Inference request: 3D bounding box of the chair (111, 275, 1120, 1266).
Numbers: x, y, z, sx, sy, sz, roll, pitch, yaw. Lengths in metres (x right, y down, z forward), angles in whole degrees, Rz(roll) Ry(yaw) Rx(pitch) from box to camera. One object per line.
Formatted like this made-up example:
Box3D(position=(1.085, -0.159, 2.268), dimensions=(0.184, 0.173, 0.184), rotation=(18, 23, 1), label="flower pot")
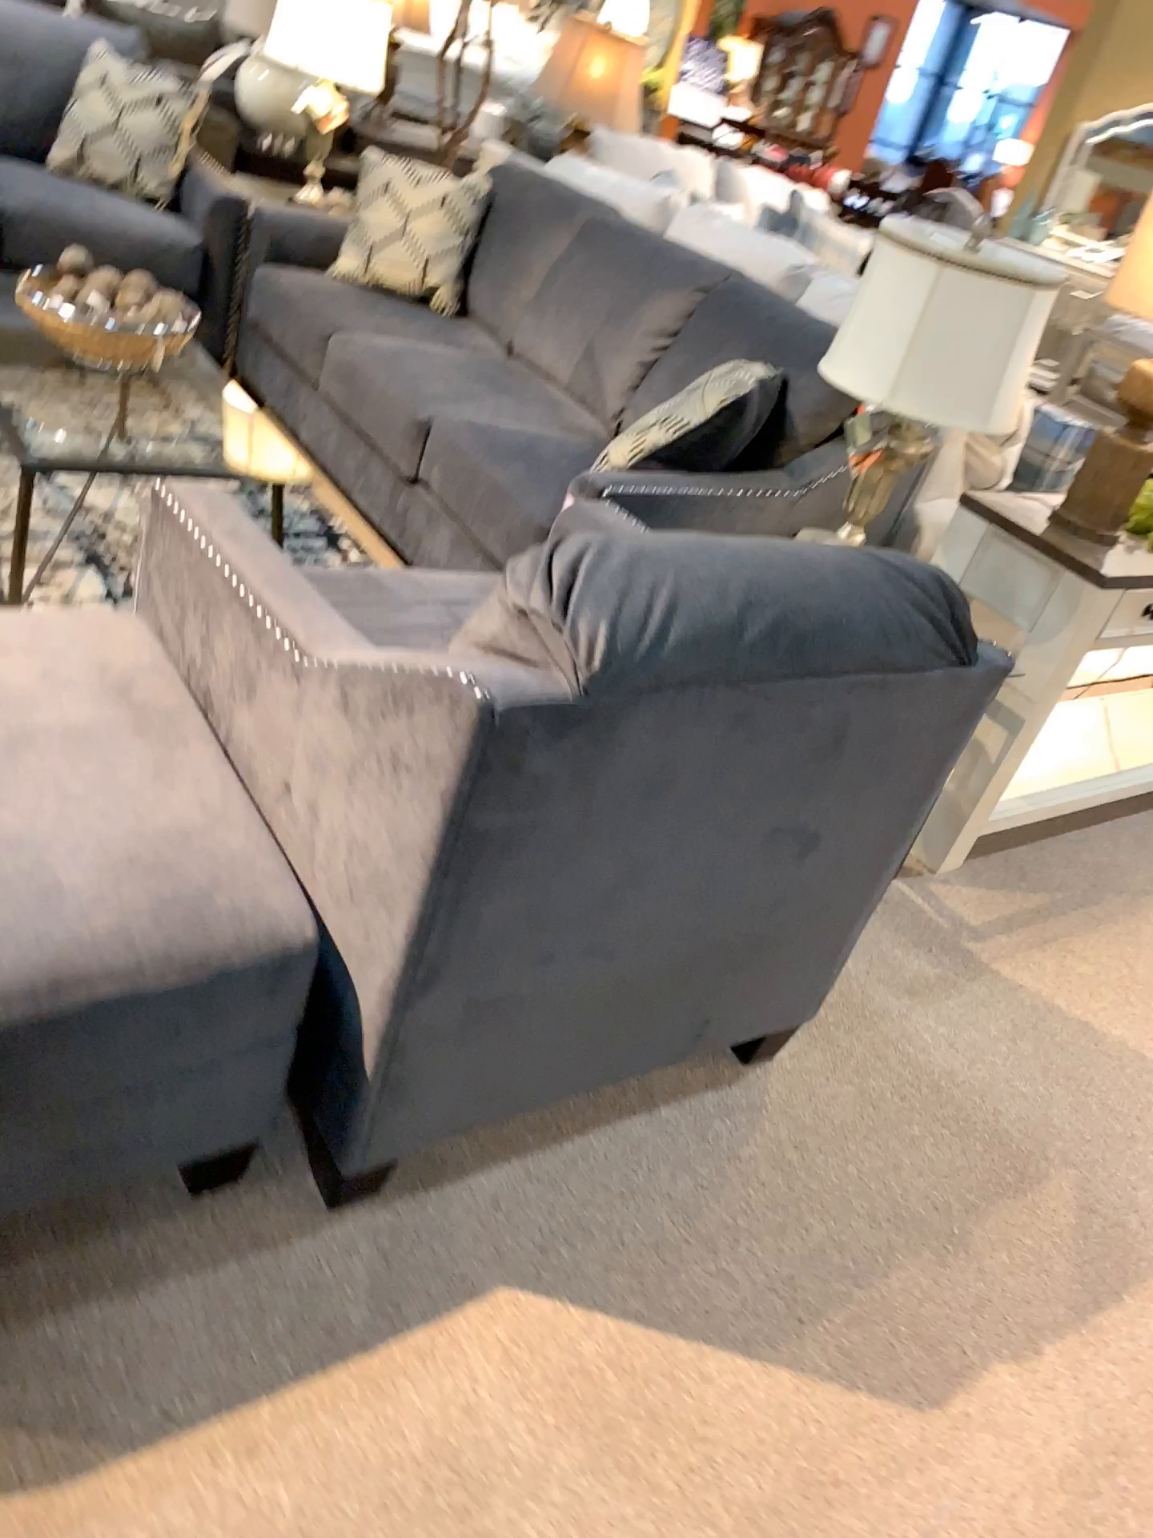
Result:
Box3D(position=(-0.047, -0.082, 1.737), dimensions=(0.922, 0.839, 0.960), rotation=(-7, 40, -36), label="chair")
